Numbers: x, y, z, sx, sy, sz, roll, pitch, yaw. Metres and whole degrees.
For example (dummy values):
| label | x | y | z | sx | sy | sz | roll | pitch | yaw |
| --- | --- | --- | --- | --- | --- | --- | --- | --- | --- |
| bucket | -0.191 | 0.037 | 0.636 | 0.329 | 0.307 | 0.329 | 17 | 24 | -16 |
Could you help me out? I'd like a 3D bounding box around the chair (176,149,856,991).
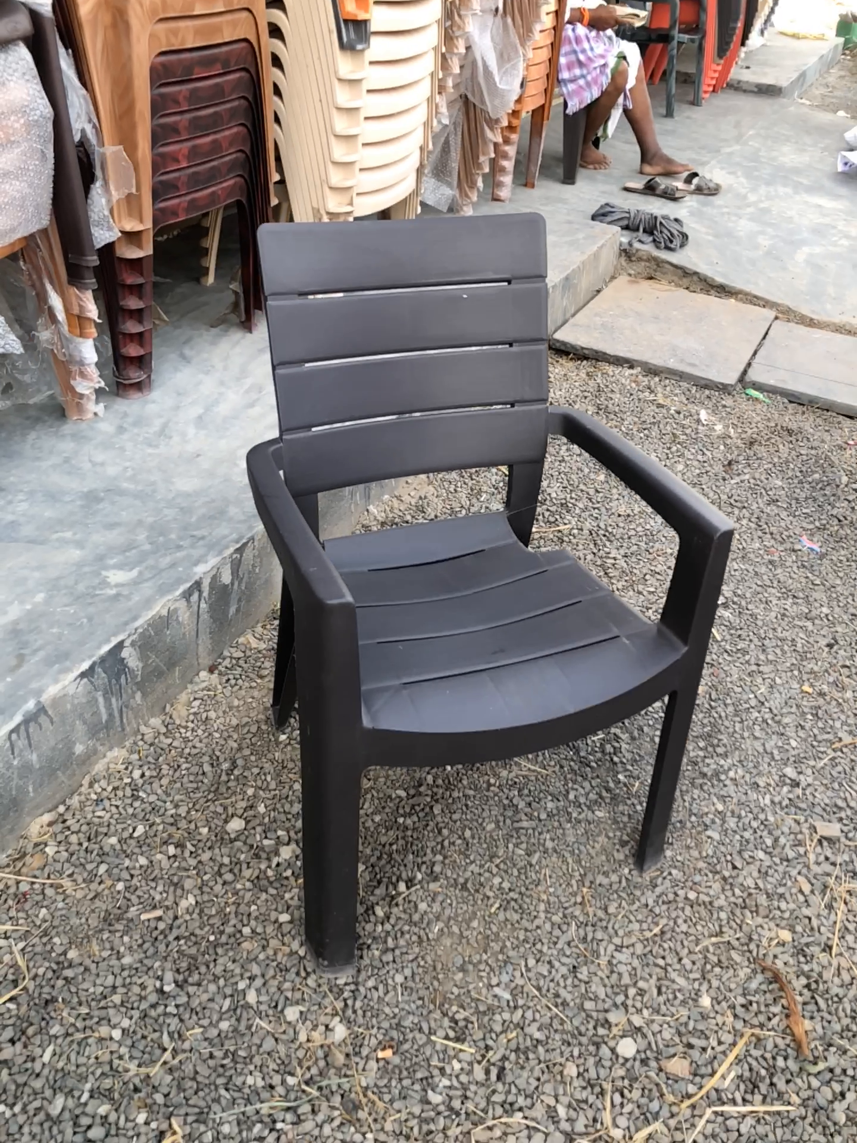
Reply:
| label | x | y | z | sx | sy | sz | roll | pitch | yaw |
| --- | --- | --- | --- | --- | --- | --- | --- | --- | --- |
| chair | 0.050 | -0.053 | 1.261 | 0.571 | 0.796 | 0.682 | -11 | 39 | -20 |
